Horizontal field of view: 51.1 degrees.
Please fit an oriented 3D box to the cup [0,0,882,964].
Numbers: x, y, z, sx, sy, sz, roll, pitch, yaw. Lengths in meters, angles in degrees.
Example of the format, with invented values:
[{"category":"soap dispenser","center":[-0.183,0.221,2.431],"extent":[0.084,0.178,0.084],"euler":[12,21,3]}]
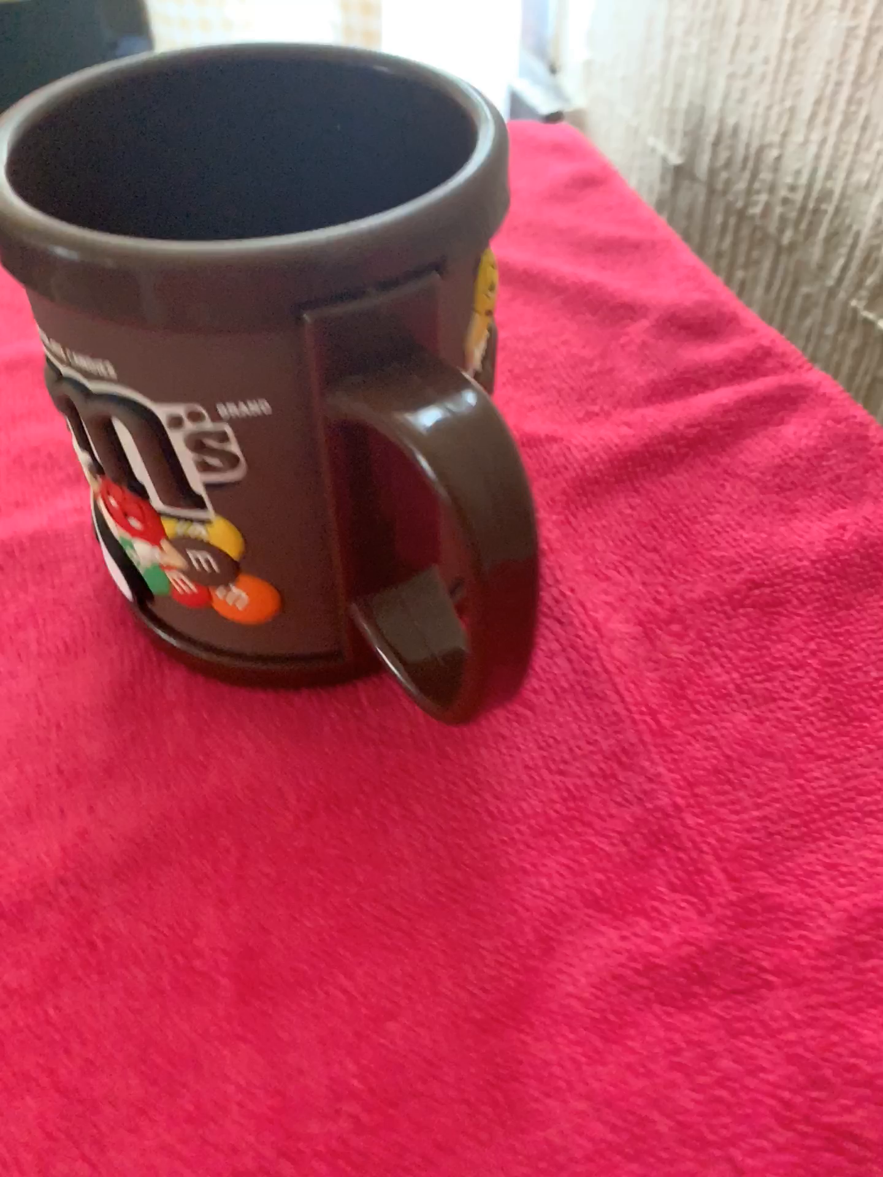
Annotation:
[{"category":"cup","center":[-0.019,-0.029,0.162],"extent":[0.090,0.099,0.121],"euler":[-25,52,-21]}]
